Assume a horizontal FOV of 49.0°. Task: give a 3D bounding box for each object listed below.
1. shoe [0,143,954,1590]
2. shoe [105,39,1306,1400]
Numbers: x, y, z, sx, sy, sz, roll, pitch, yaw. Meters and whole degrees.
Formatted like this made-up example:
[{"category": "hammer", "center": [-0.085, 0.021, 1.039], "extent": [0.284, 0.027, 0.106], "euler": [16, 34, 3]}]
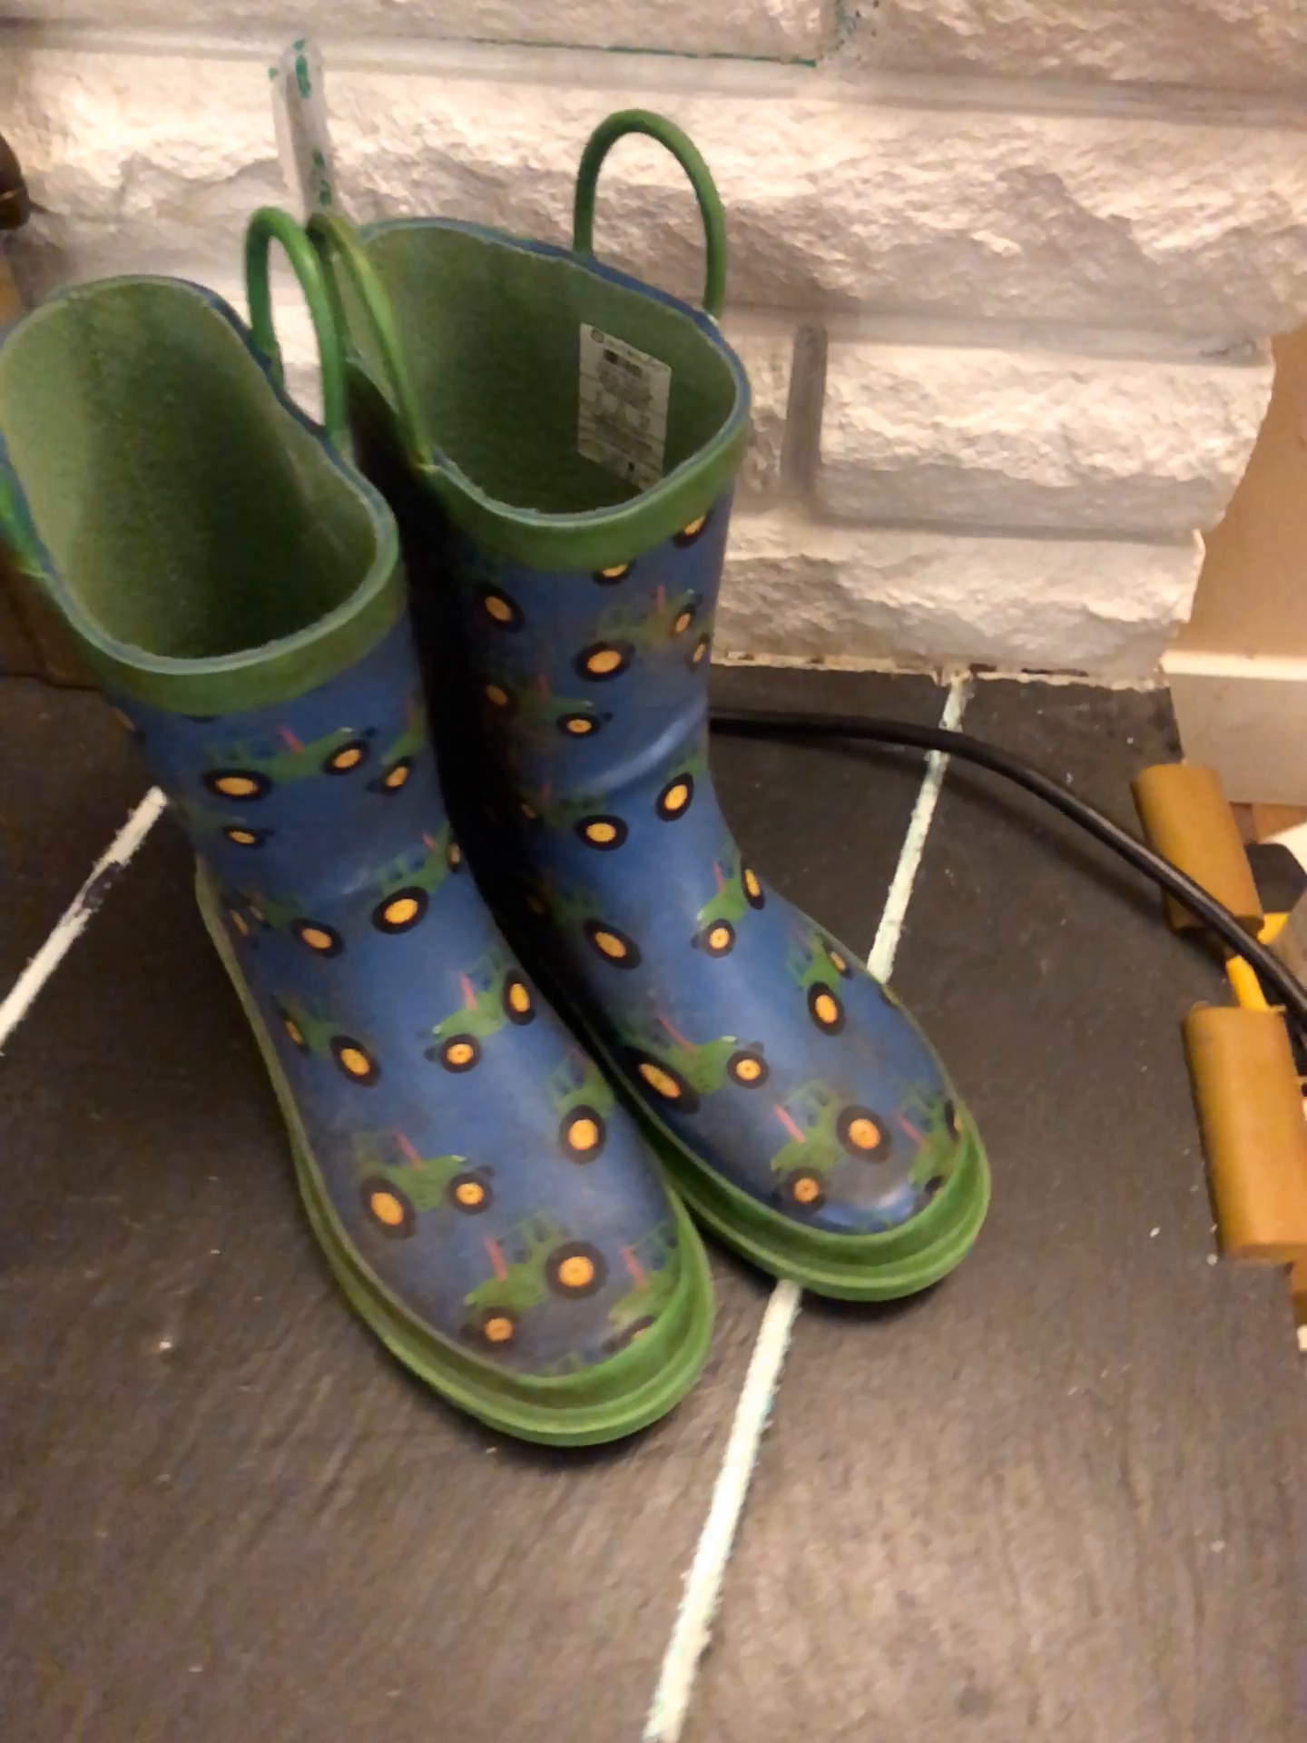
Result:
[{"category": "shoe", "center": [-0.062, 0.011, 0.339], "extent": [0.100, 0.239, 0.231], "euler": [-25, 58, -18]}, {"category": "shoe", "center": [0.002, -0.028, 0.357], "extent": [0.100, 0.229, 0.241], "euler": [-36, 62, -24]}]
